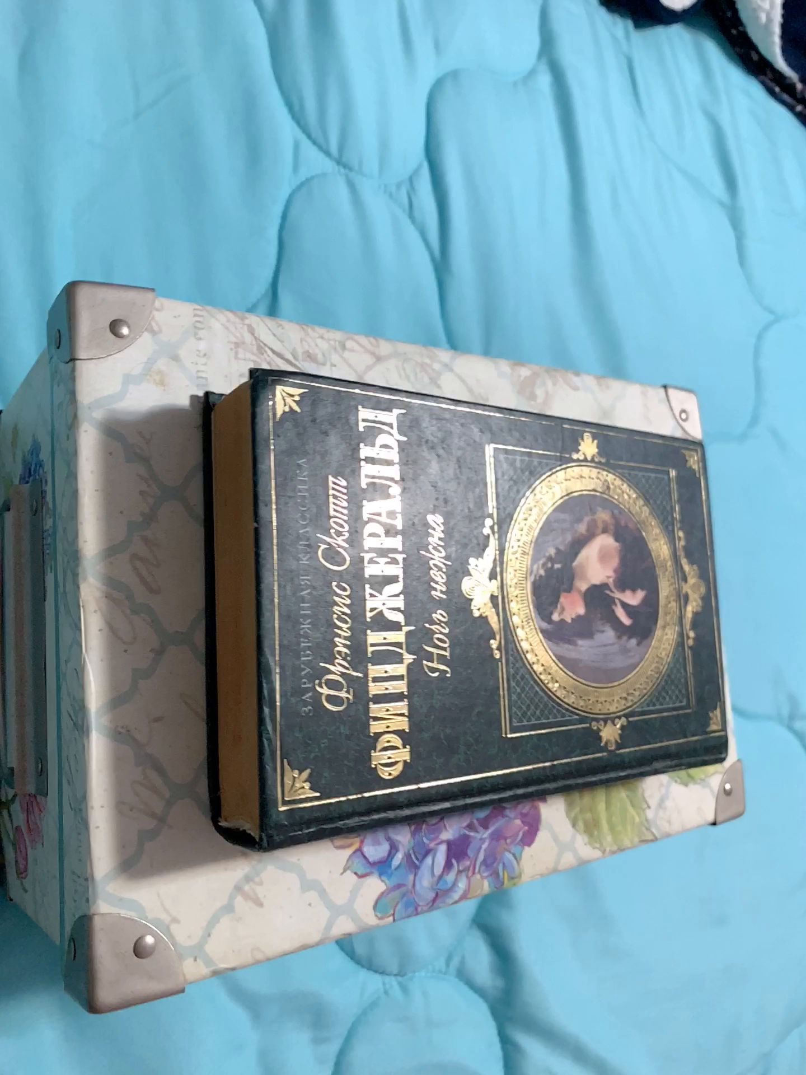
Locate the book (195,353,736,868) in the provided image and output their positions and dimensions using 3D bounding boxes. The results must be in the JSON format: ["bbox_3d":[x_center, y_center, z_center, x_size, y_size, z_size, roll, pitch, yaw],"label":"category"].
[{"bbox_3d":[0.037,0.023,0.304,0.221,0.030,0.140,2,81,-36],"label":"book"}]
